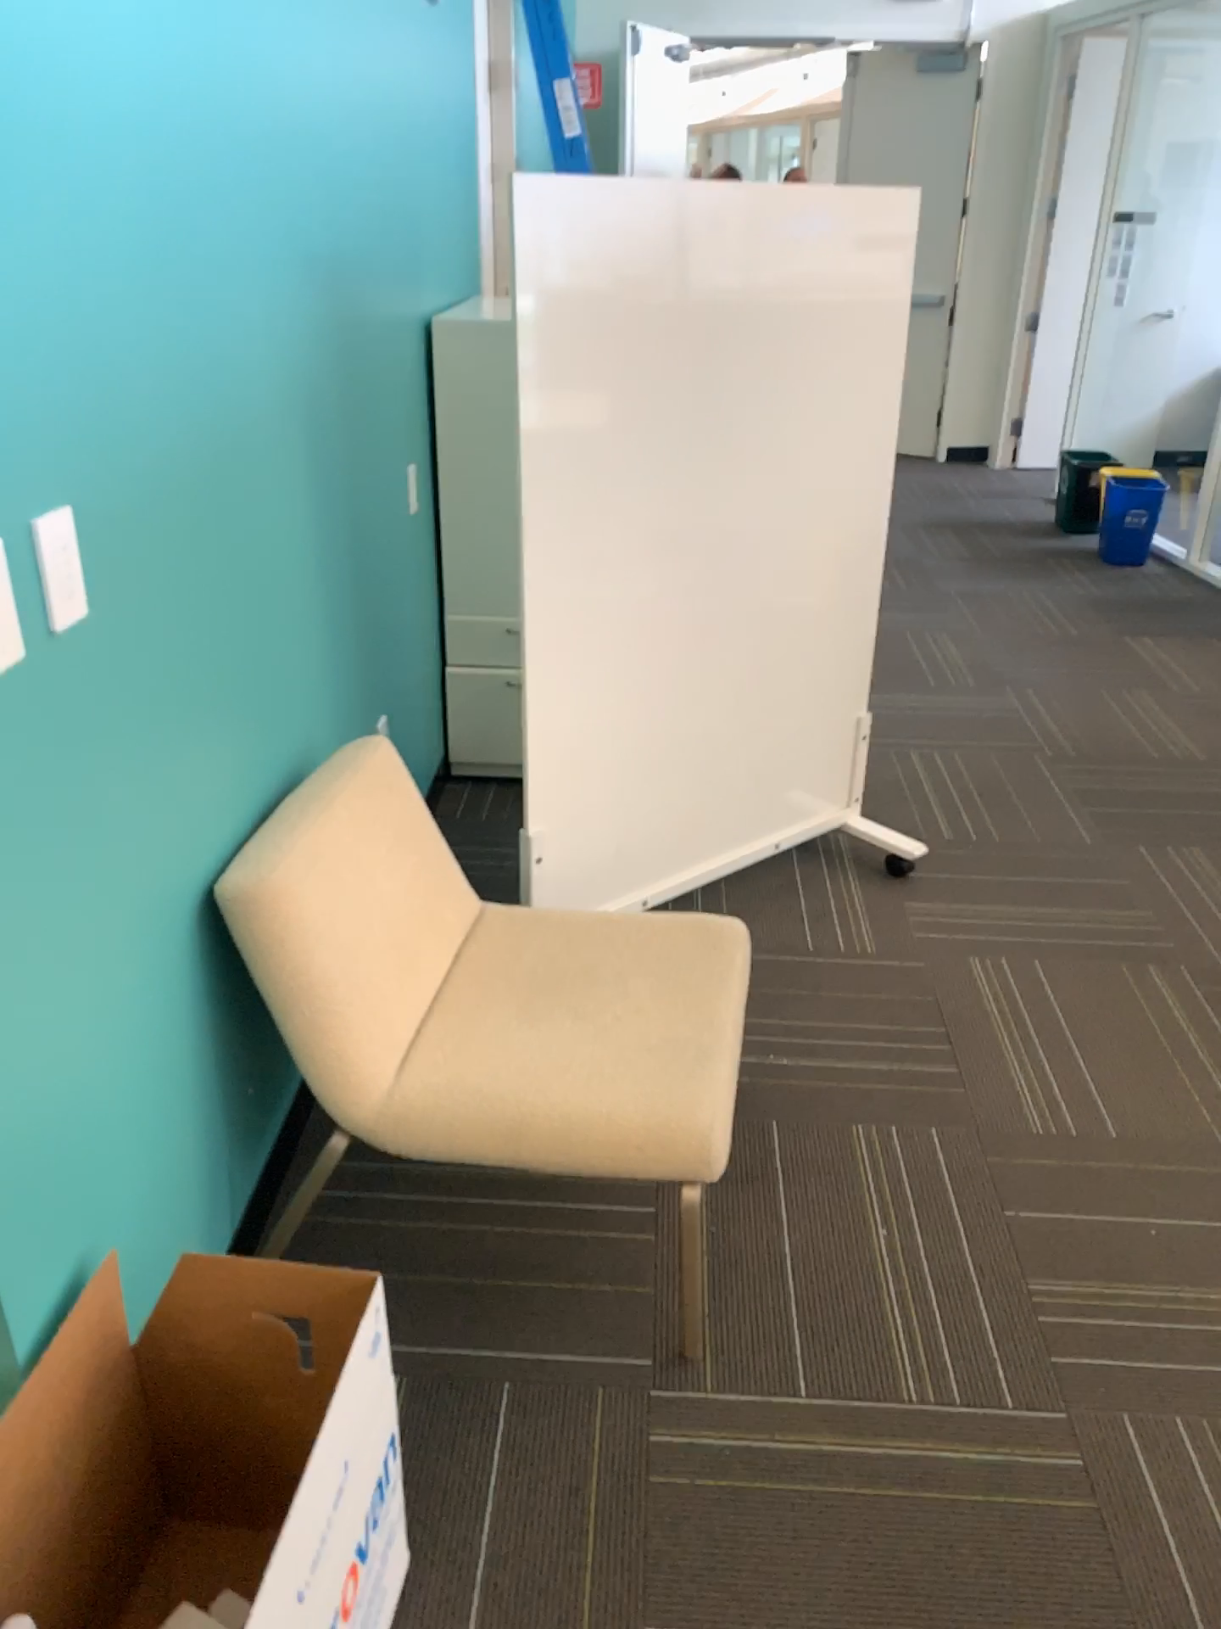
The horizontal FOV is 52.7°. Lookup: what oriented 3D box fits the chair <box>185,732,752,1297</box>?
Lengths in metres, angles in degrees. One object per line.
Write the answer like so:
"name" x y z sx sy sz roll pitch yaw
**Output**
"chair" -0.162 0.276 2.006 0.730 0.567 0.663 4 26 6
